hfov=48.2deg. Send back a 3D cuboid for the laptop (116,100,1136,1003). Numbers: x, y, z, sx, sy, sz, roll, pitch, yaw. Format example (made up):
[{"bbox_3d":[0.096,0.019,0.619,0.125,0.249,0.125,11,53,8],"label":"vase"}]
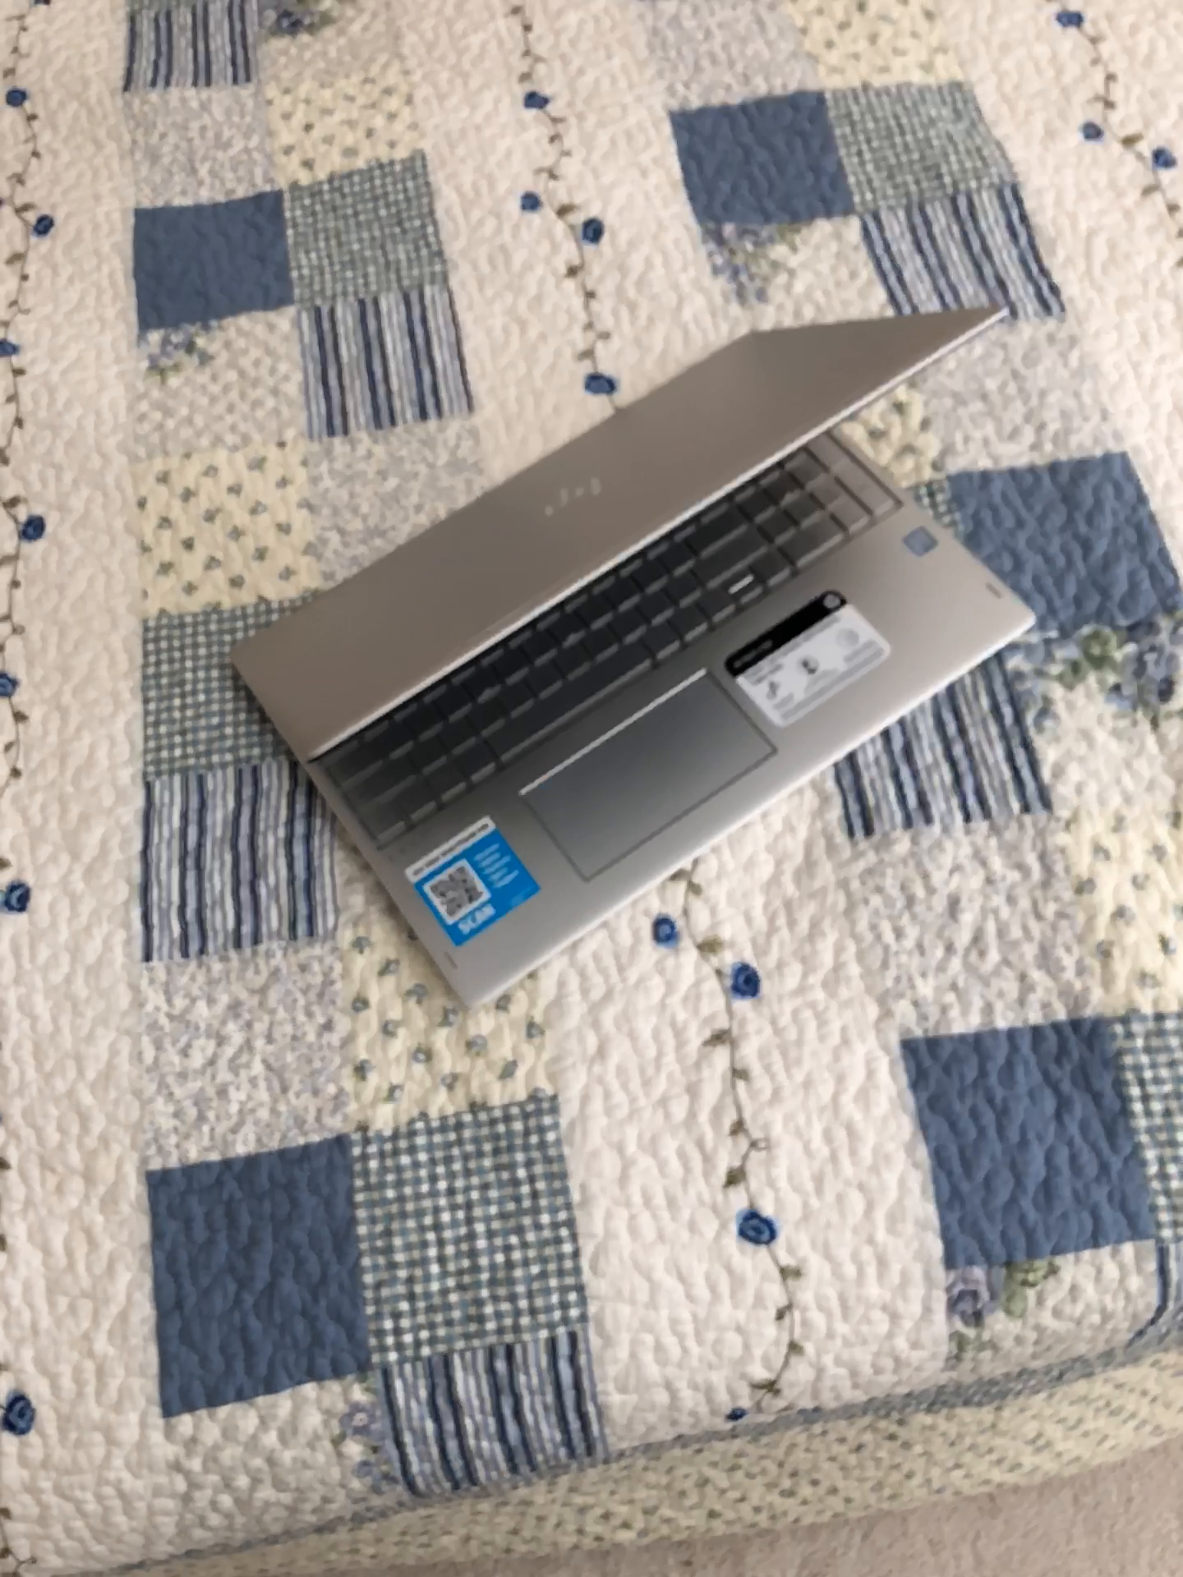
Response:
[{"bbox_3d":[0.013,-0.114,0.623,0.348,0.158,0.242,-34,66,-10],"label":"laptop"}]
